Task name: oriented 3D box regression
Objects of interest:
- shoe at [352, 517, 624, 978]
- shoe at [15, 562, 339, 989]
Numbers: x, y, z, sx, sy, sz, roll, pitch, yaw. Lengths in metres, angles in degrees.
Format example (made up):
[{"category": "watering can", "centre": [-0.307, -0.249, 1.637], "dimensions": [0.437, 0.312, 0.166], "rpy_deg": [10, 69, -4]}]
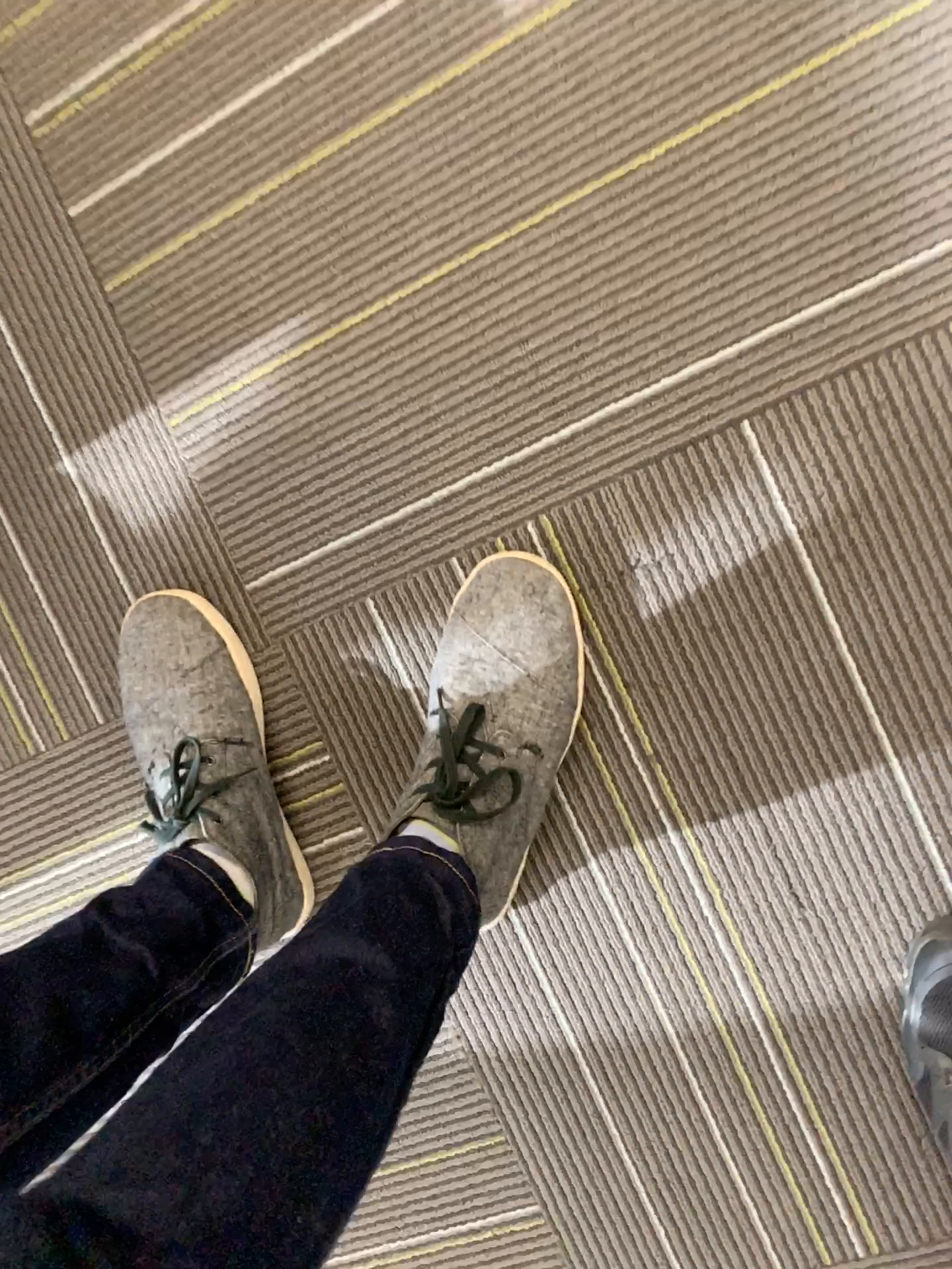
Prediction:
[{"category": "shoe", "centre": [0.008, 0.077, 0.708], "dimensions": [0.134, 0.087, 0.299], "rpy_deg": [12, 103, 11]}, {"category": "shoe", "centre": [-0.231, 0.109, 0.770], "dimensions": [0.134, 0.087, 0.301], "rpy_deg": [-16, 95, 15]}]
